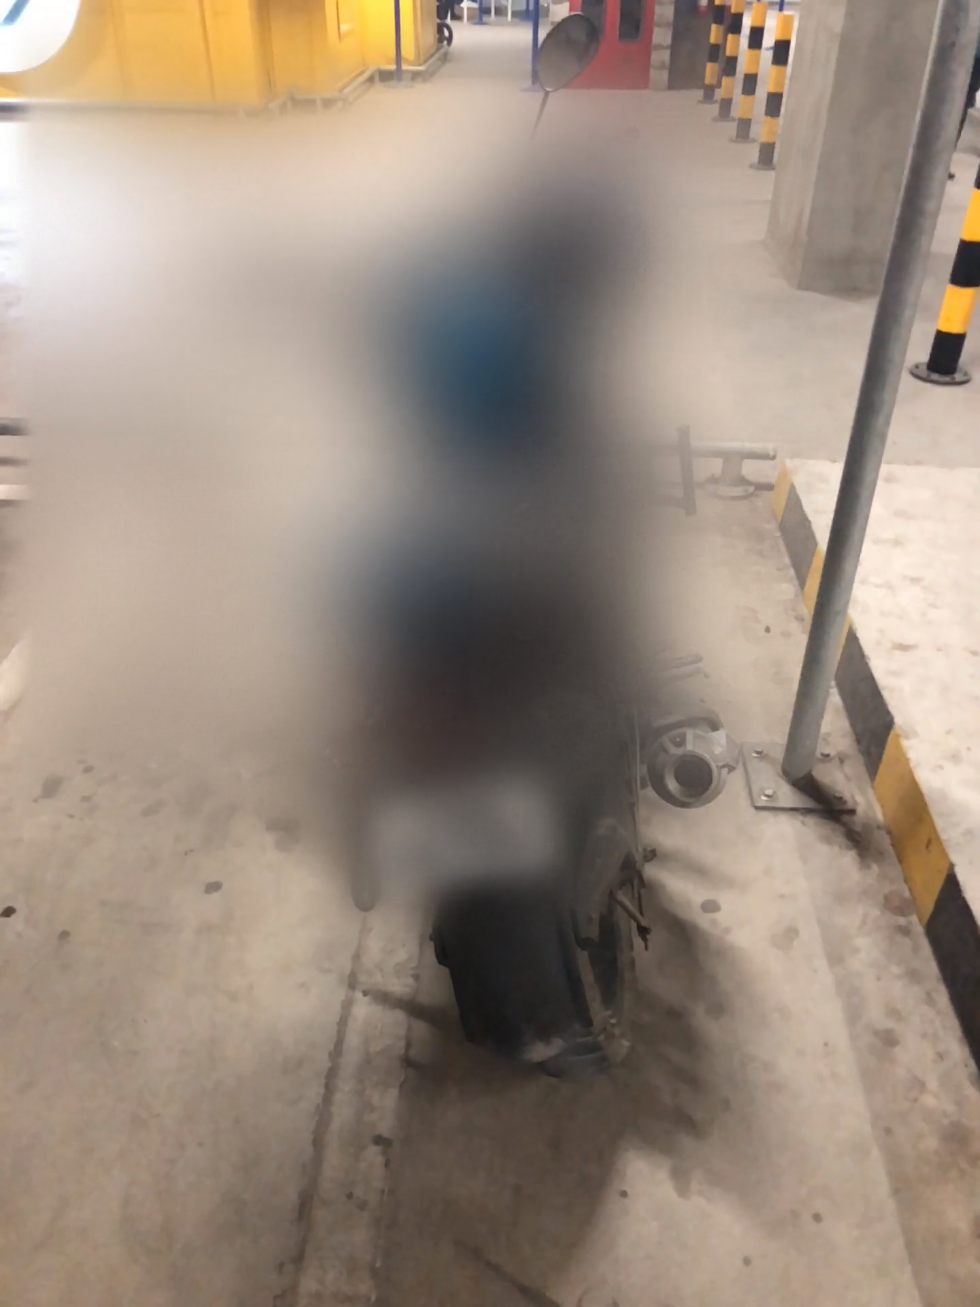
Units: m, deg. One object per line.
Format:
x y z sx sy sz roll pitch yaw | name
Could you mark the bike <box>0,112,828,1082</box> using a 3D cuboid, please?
-0.136 -0.241 1.739 0.766 0.951 1.422 -1 34 -1 | bike
